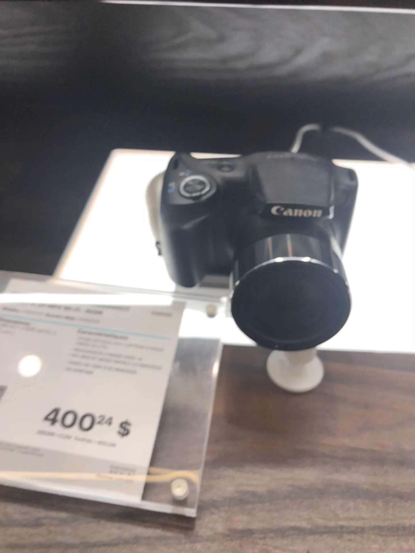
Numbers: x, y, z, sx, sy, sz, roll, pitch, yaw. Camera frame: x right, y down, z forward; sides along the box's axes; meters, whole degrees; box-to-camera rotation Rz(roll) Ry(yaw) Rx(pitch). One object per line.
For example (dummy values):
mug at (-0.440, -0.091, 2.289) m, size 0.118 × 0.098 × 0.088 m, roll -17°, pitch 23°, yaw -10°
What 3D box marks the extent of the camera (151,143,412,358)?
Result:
camera at (0.028, -0.015, 0.238) m, size 0.102 × 0.074 × 0.081 m, roll 1°, pitch 38°, yaw -1°
